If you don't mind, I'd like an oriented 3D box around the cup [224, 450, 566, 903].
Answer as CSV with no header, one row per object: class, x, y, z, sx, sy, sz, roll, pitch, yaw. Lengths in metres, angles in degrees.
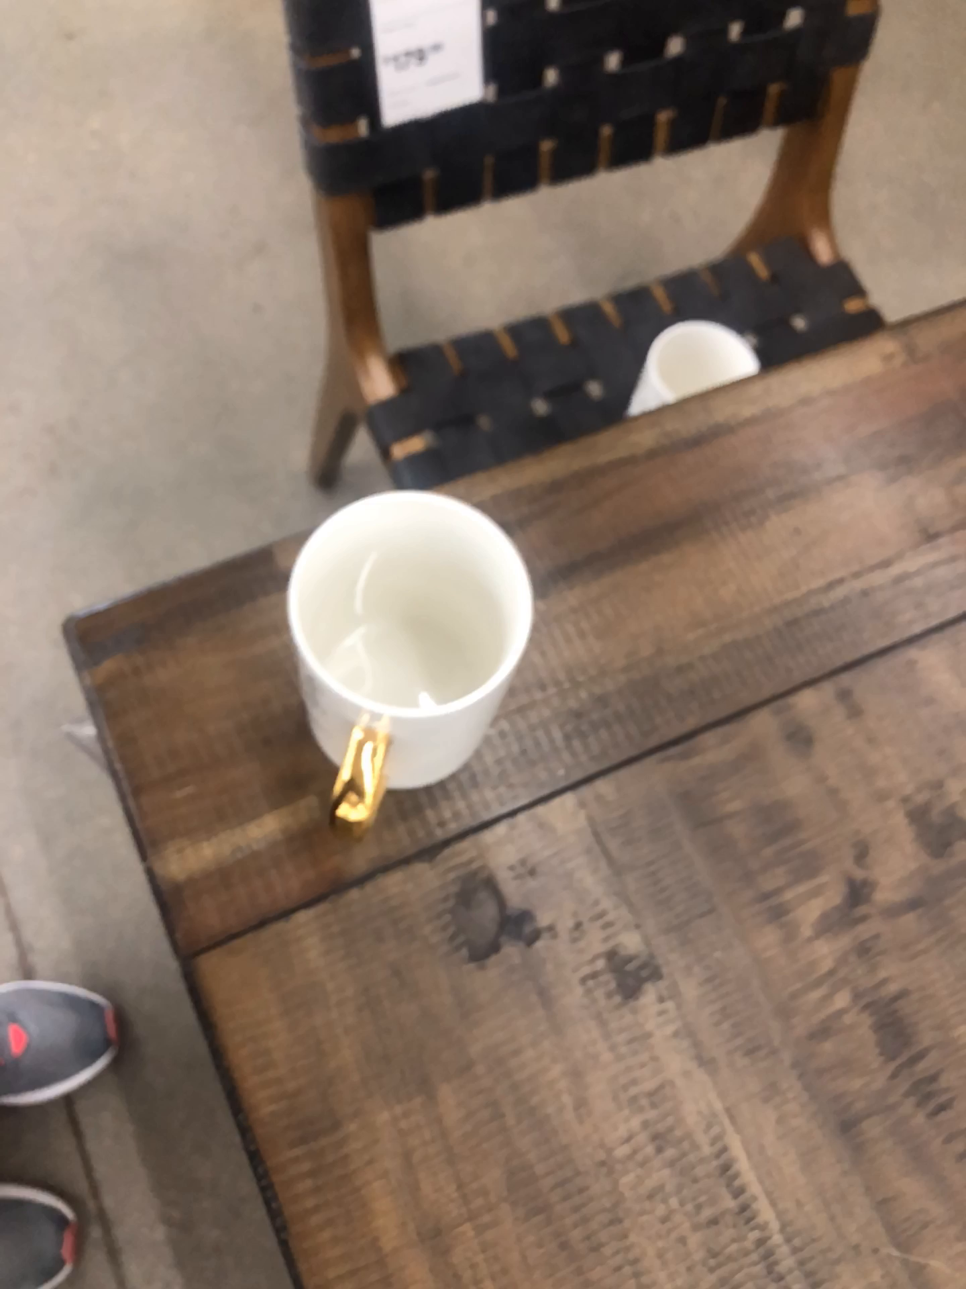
cup,-0.030,0.018,0.396,0.082,0.111,0.122,13,69,-2
